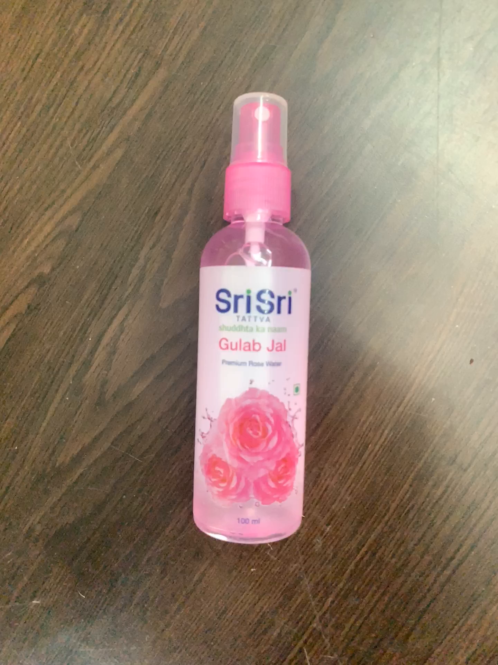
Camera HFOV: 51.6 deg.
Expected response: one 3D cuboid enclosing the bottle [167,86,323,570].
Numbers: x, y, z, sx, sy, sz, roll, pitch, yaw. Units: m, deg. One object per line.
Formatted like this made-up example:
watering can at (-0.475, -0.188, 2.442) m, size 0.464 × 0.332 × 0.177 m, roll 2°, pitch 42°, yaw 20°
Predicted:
bottle at (0.000, -0.001, 0.172) m, size 0.040 × 0.040 × 0.140 m, roll 3°, pitch 94°, yaw 9°
